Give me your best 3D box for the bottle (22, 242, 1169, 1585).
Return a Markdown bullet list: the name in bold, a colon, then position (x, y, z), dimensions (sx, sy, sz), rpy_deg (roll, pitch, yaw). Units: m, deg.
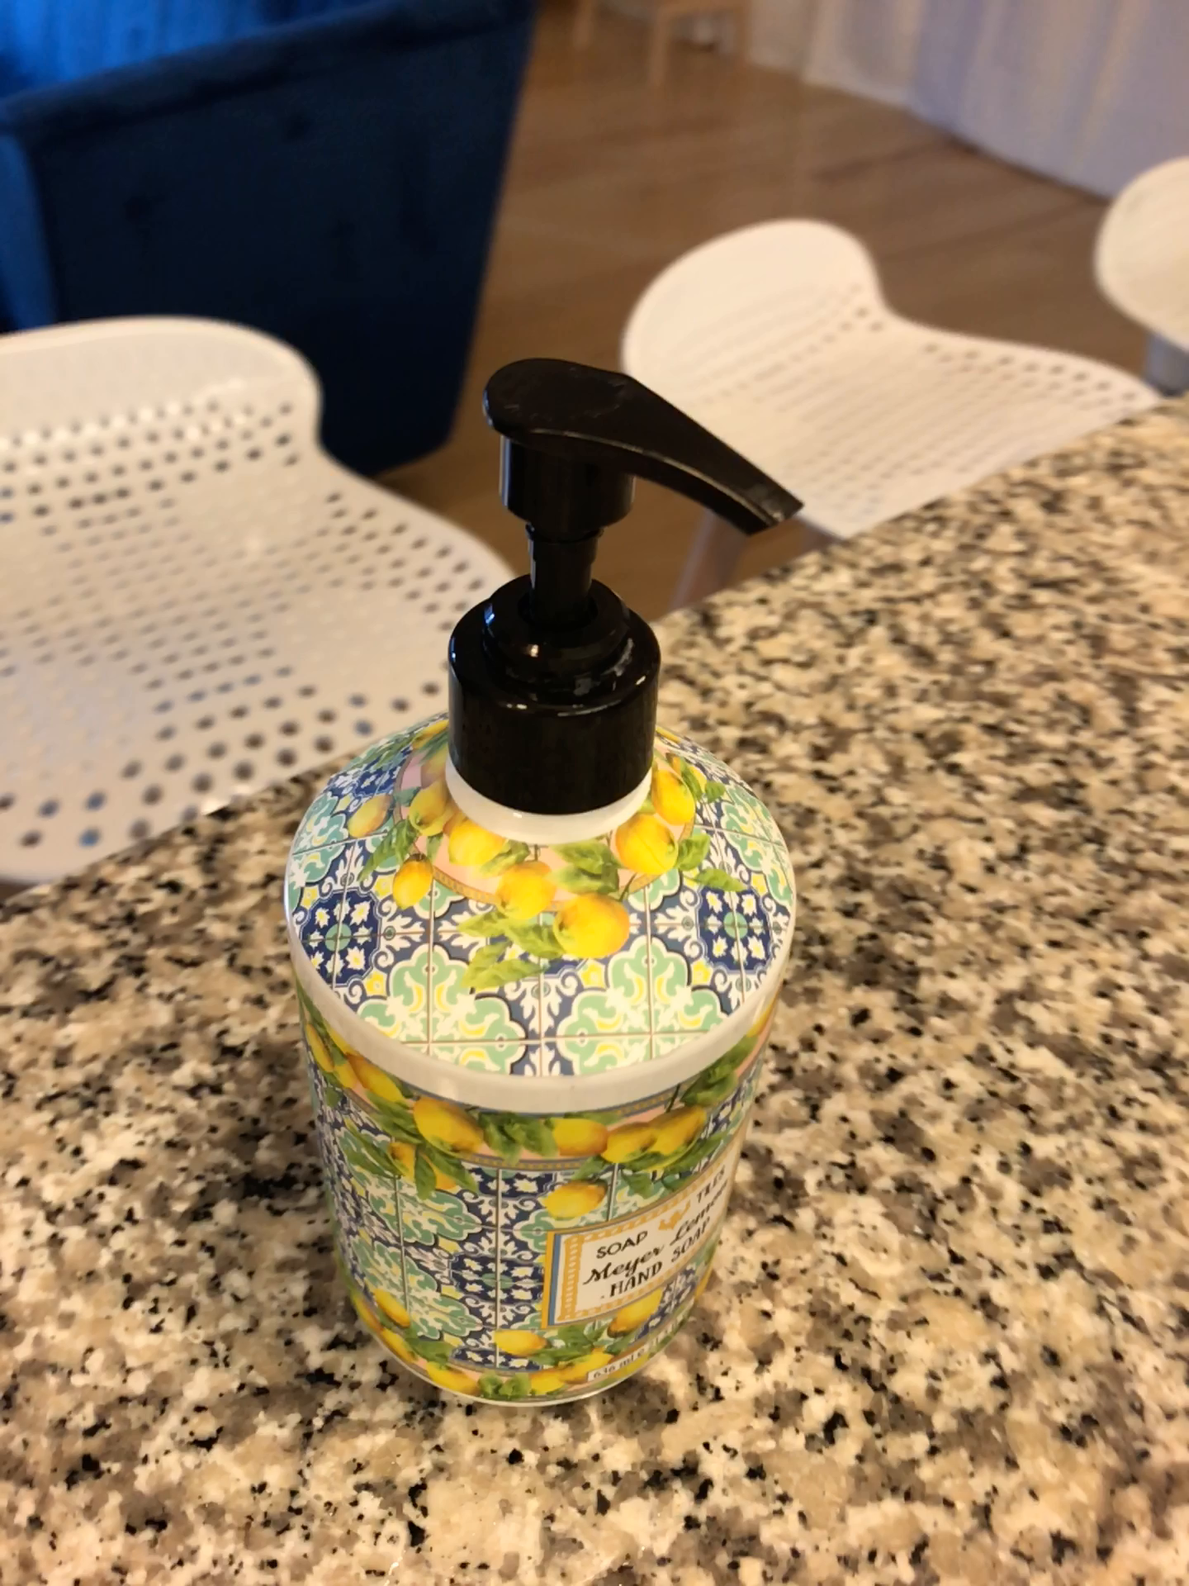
- **bottle**: position (-0.007, 0.030, 0.216), dimensions (0.090, 0.189, 0.100), rpy_deg (-28, 52, -30)
